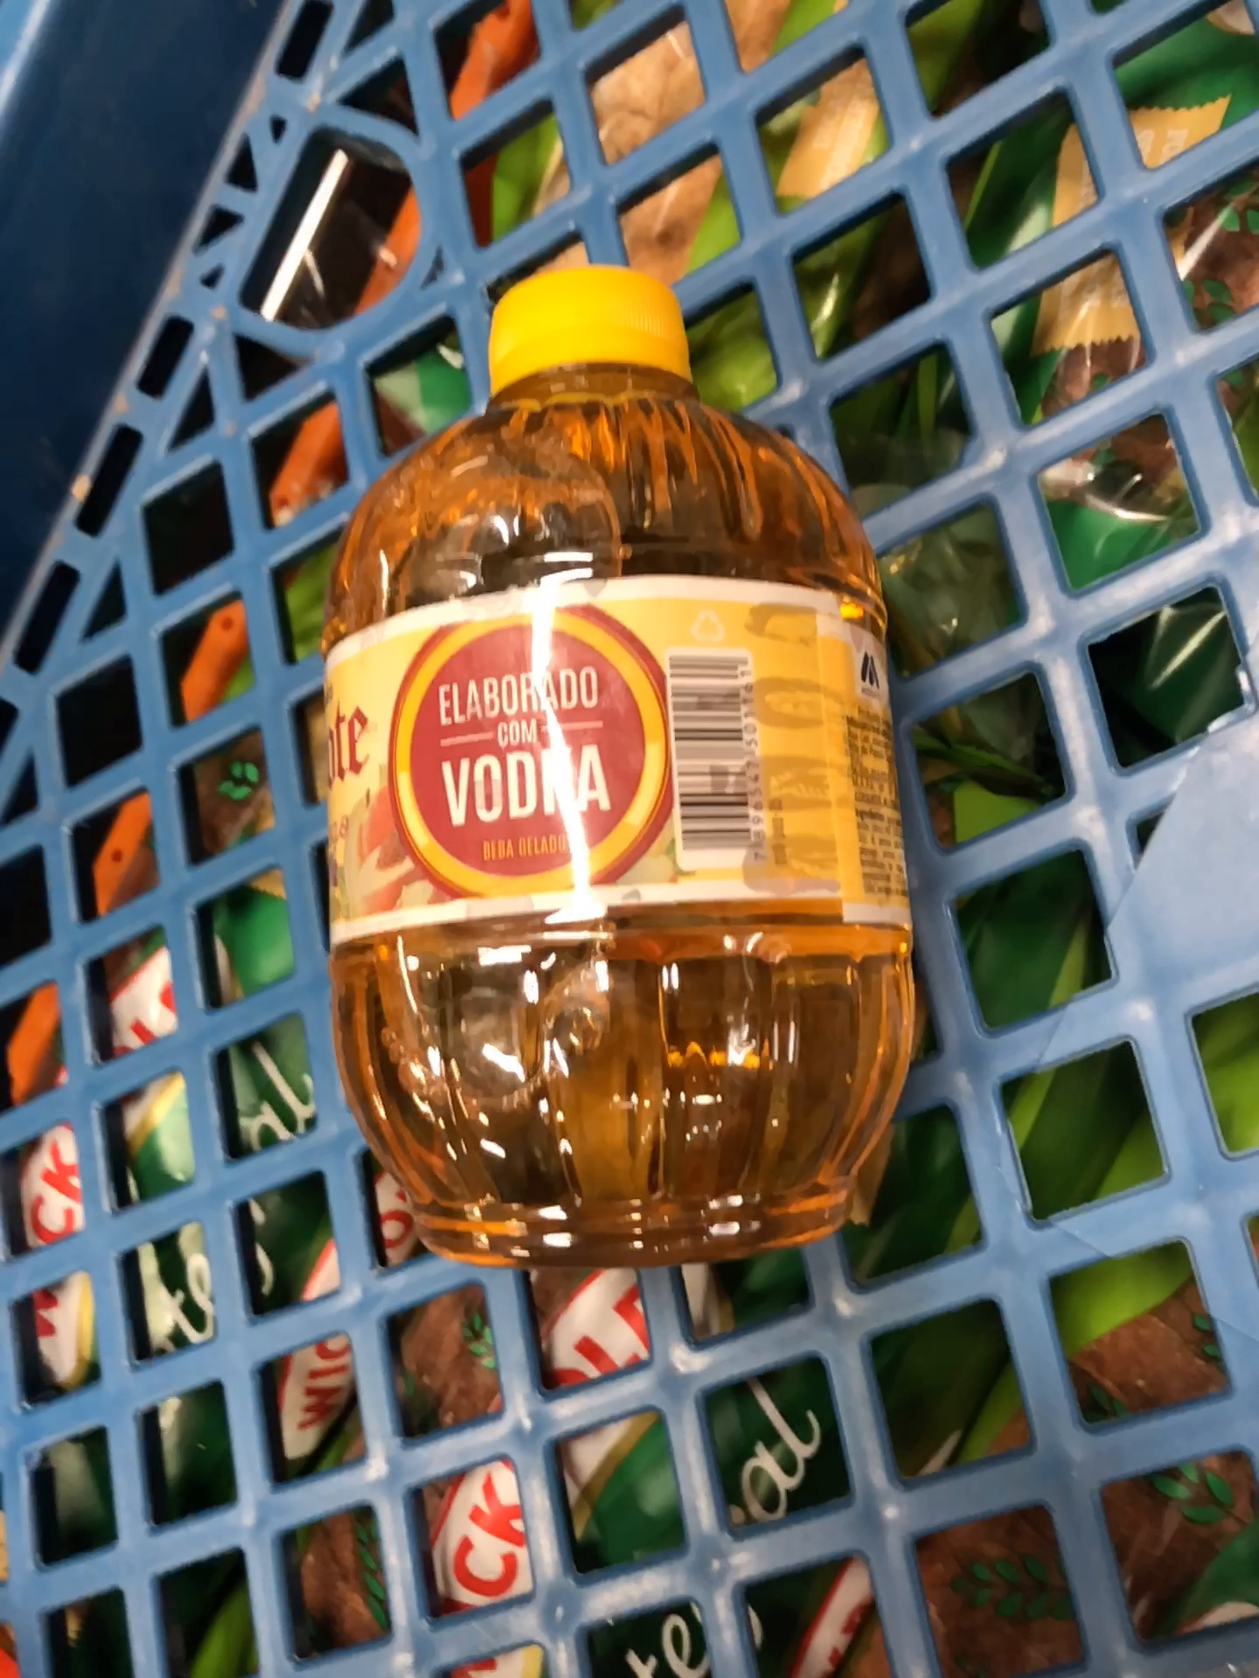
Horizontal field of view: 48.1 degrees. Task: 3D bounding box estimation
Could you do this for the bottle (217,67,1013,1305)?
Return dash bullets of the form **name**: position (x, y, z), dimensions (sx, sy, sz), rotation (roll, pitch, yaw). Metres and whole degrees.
- **bottle**: position (-0.009, -0.013, 0.196), dimensions (0.080, 0.070, 0.130), rotation (-17, 76, 57)
